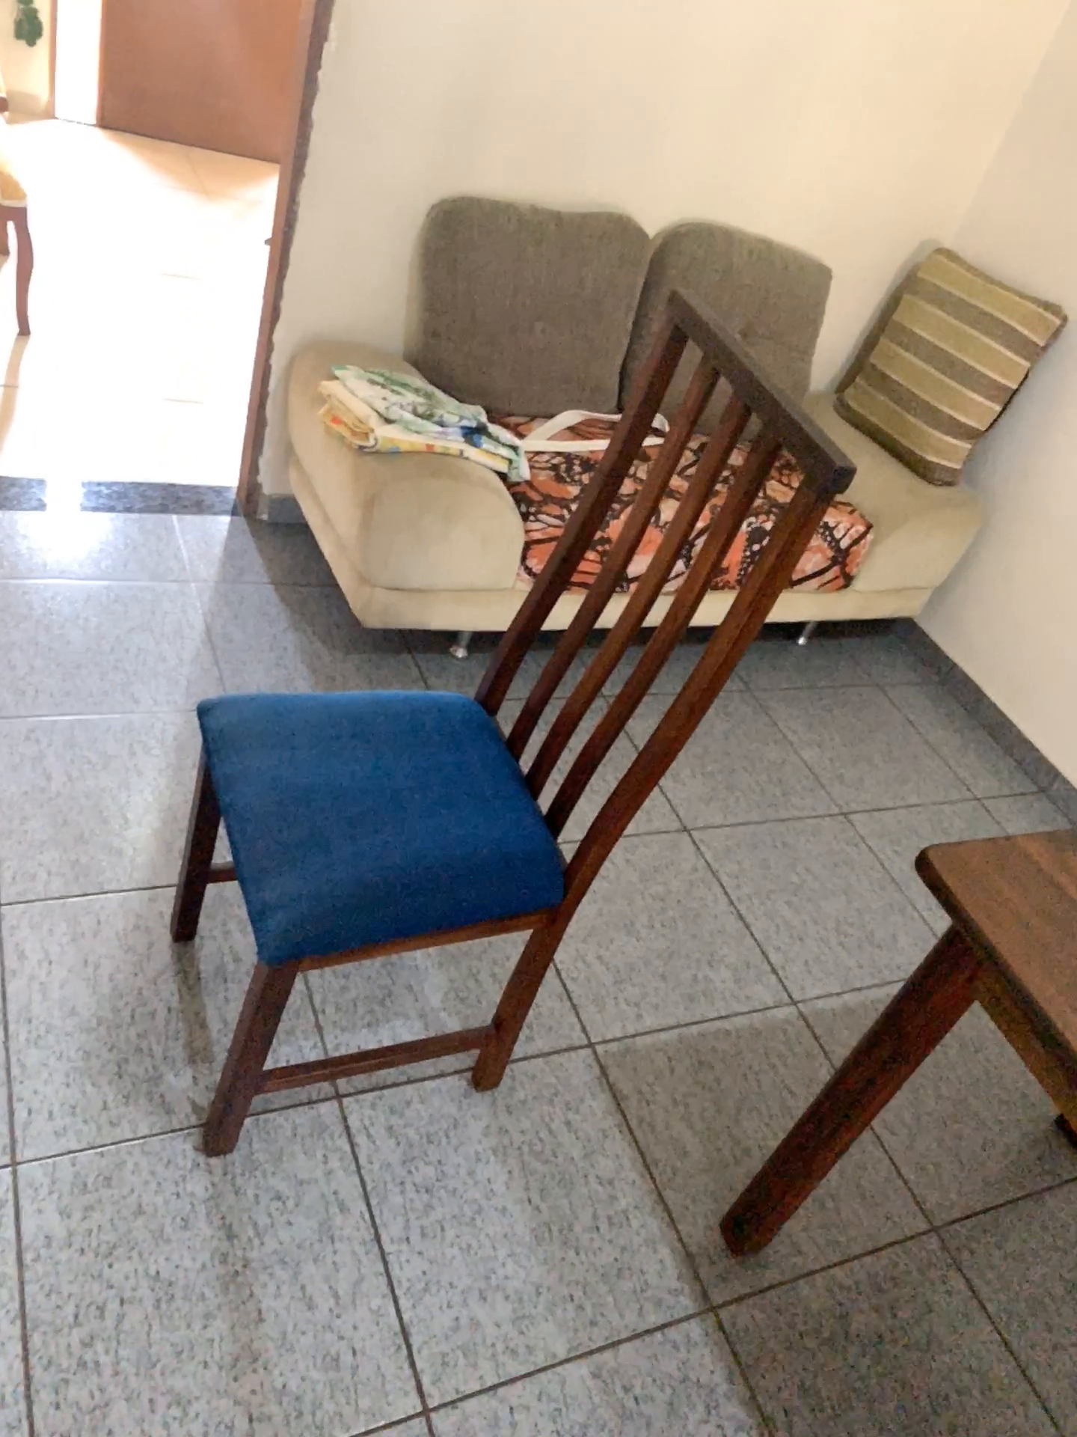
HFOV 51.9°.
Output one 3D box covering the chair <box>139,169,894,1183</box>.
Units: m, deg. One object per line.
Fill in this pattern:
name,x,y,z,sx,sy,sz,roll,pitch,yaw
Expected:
chair,-0.158,0.037,1.377,0.521,1.123,0.472,-2,44,-27
